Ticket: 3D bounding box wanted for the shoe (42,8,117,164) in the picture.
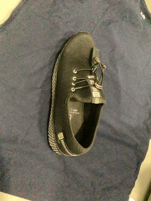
[{"bbox_3d":[0.009,-0.024,0.343,0.100,0.090,0.290,11,82,-27],"label":"shoe"}]
